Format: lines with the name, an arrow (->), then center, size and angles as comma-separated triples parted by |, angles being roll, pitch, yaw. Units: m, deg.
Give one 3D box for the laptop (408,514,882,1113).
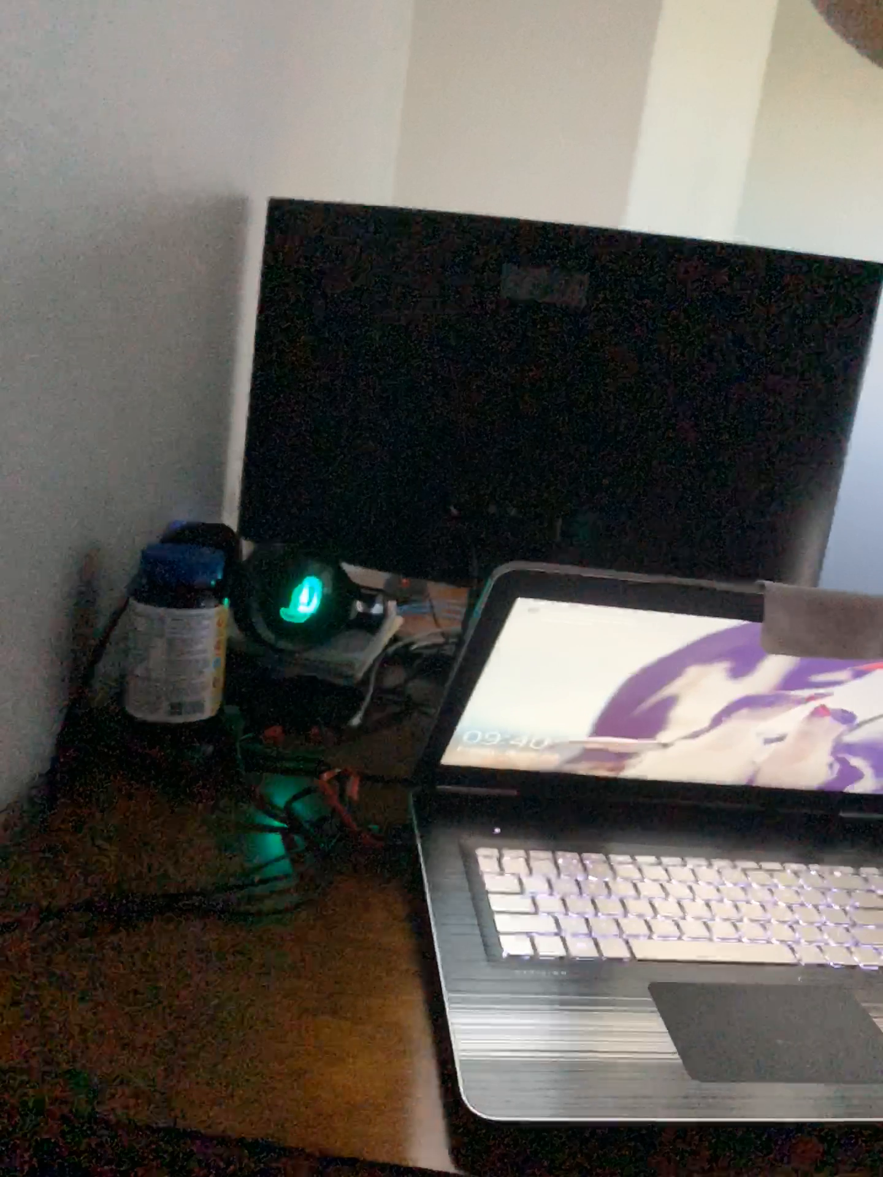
laptop -> 0.201, 0.104, 0.513 | 0.393, 0.187, 0.258 | 6, 16, -11
